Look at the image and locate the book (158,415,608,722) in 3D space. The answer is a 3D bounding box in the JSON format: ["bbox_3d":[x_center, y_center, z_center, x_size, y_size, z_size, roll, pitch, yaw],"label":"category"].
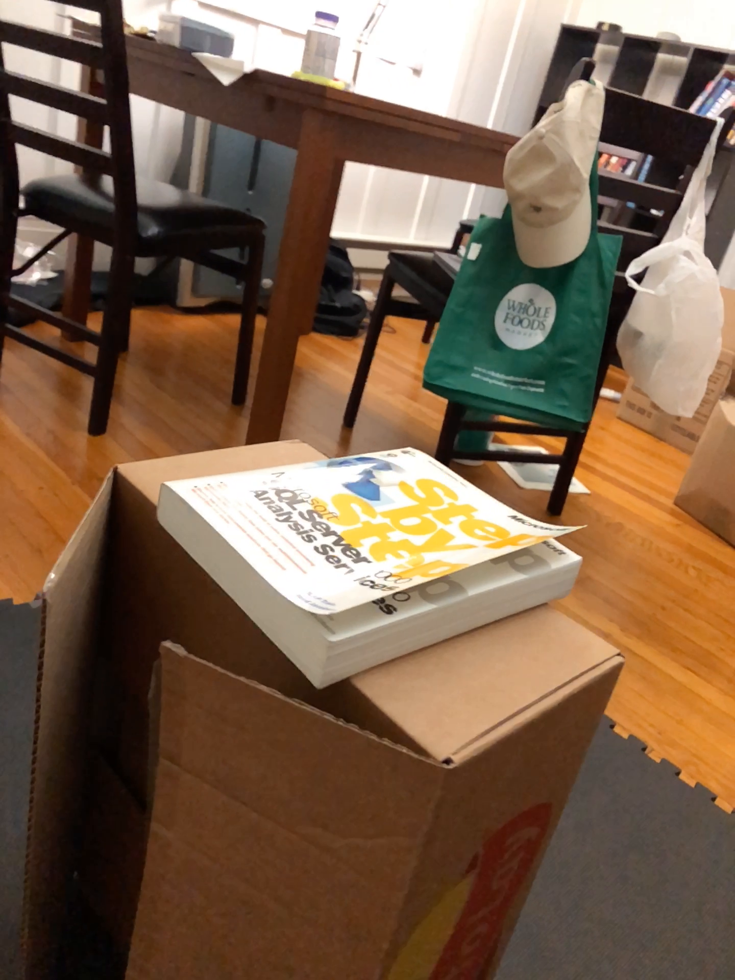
[{"bbox_3d":[0.016,0.031,0.563,0.200,0.050,0.241,35,34,32],"label":"book"}]
